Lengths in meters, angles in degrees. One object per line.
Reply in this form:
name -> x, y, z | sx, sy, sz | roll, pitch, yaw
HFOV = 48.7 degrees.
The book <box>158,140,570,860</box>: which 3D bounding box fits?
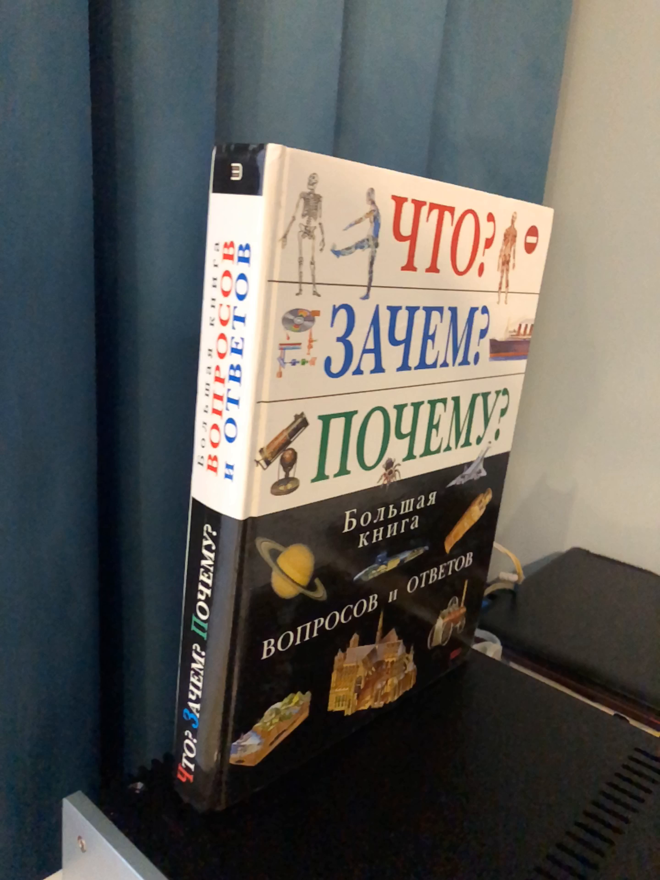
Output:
book -> 0.026, 0.024, 0.381 | 0.042, 0.301, 0.225 | 20, 20, 39
